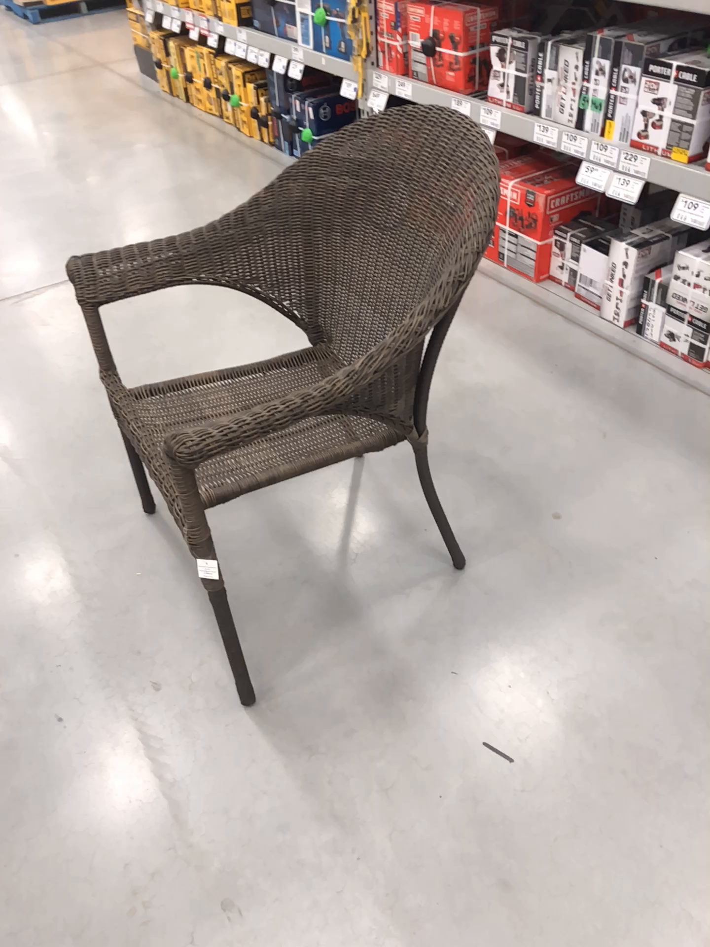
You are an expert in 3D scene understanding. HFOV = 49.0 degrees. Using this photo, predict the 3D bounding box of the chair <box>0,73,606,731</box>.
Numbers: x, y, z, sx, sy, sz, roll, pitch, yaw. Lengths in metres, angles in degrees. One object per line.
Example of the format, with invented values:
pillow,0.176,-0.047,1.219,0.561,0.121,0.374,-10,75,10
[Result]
chair,-0.122,-0.192,1.474,0.760,0.797,0.723,-23,42,-20
